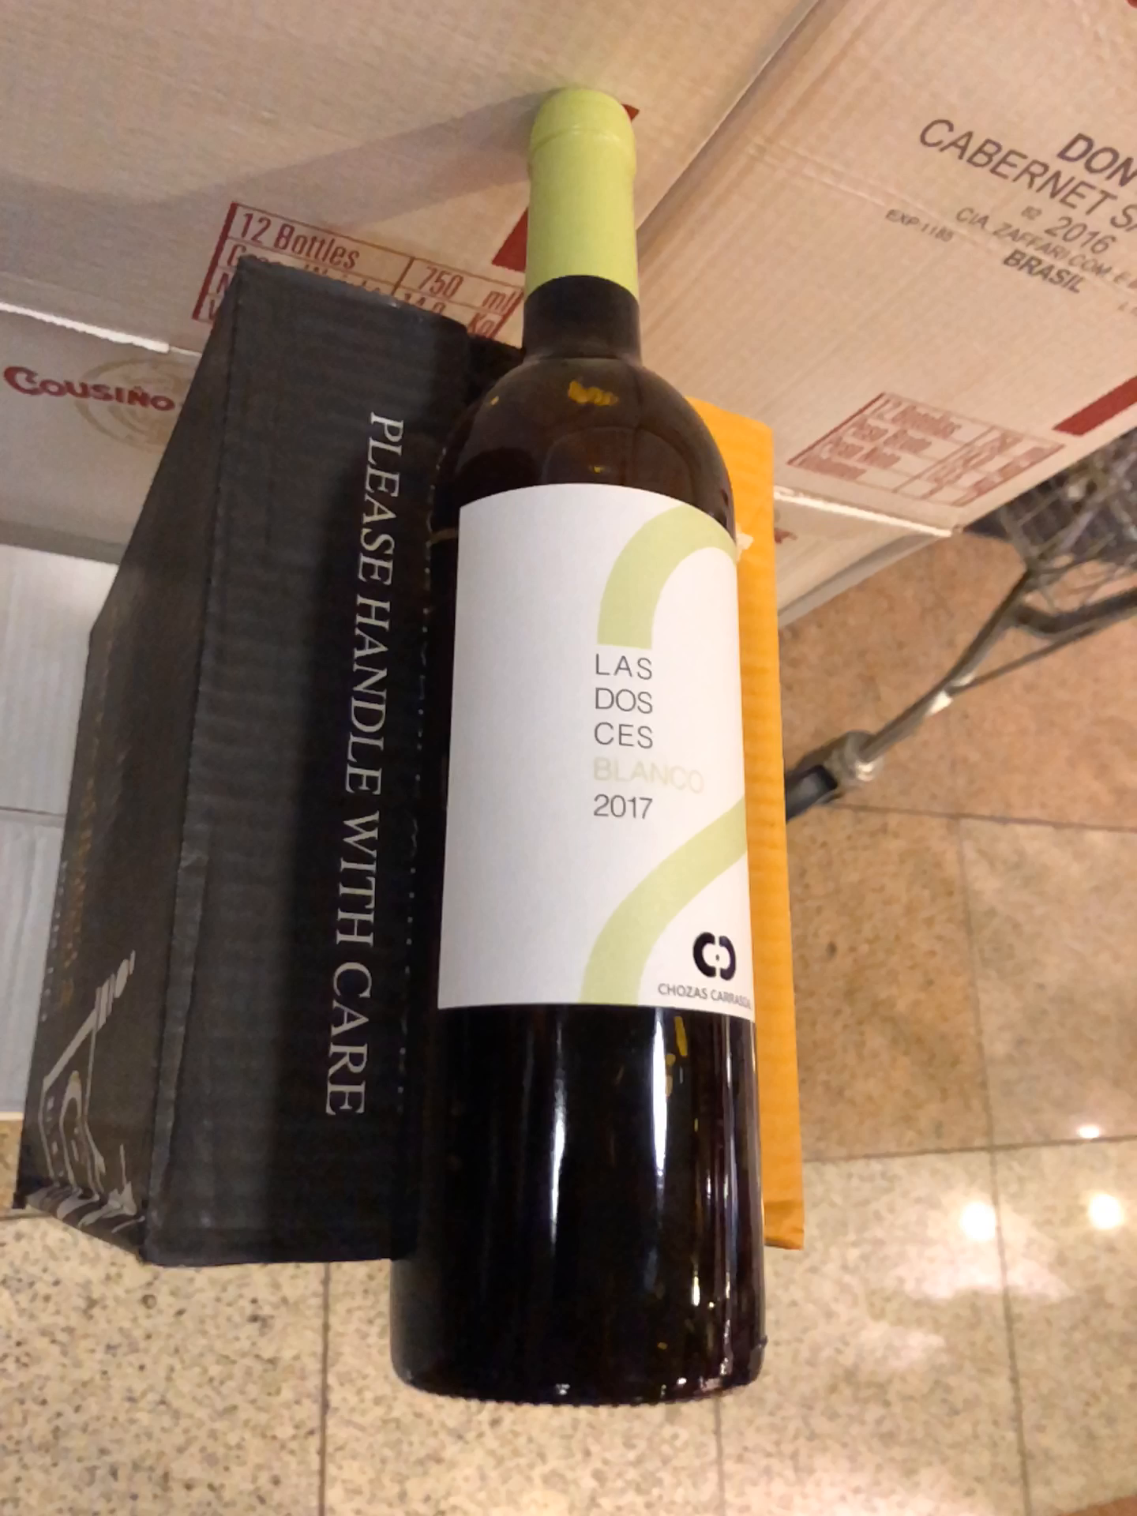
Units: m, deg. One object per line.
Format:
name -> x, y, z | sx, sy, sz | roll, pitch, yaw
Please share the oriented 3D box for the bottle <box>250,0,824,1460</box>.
bottle -> -0.004, -0.033, 0.286 | 0.090, 0.070, 0.320 | 9, 73, -25
